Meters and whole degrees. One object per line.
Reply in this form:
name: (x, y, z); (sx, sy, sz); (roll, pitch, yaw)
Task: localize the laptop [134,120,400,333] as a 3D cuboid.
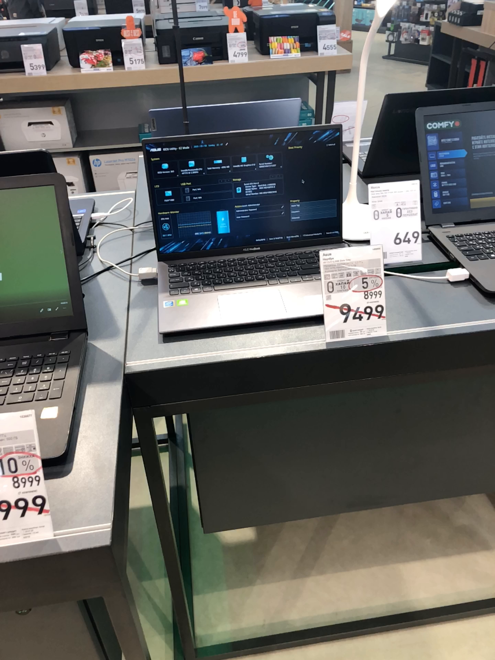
laptop: (0.012, -0.183, 0.893); (0.355, 0.200, 0.288); (-7, 37, -3)
